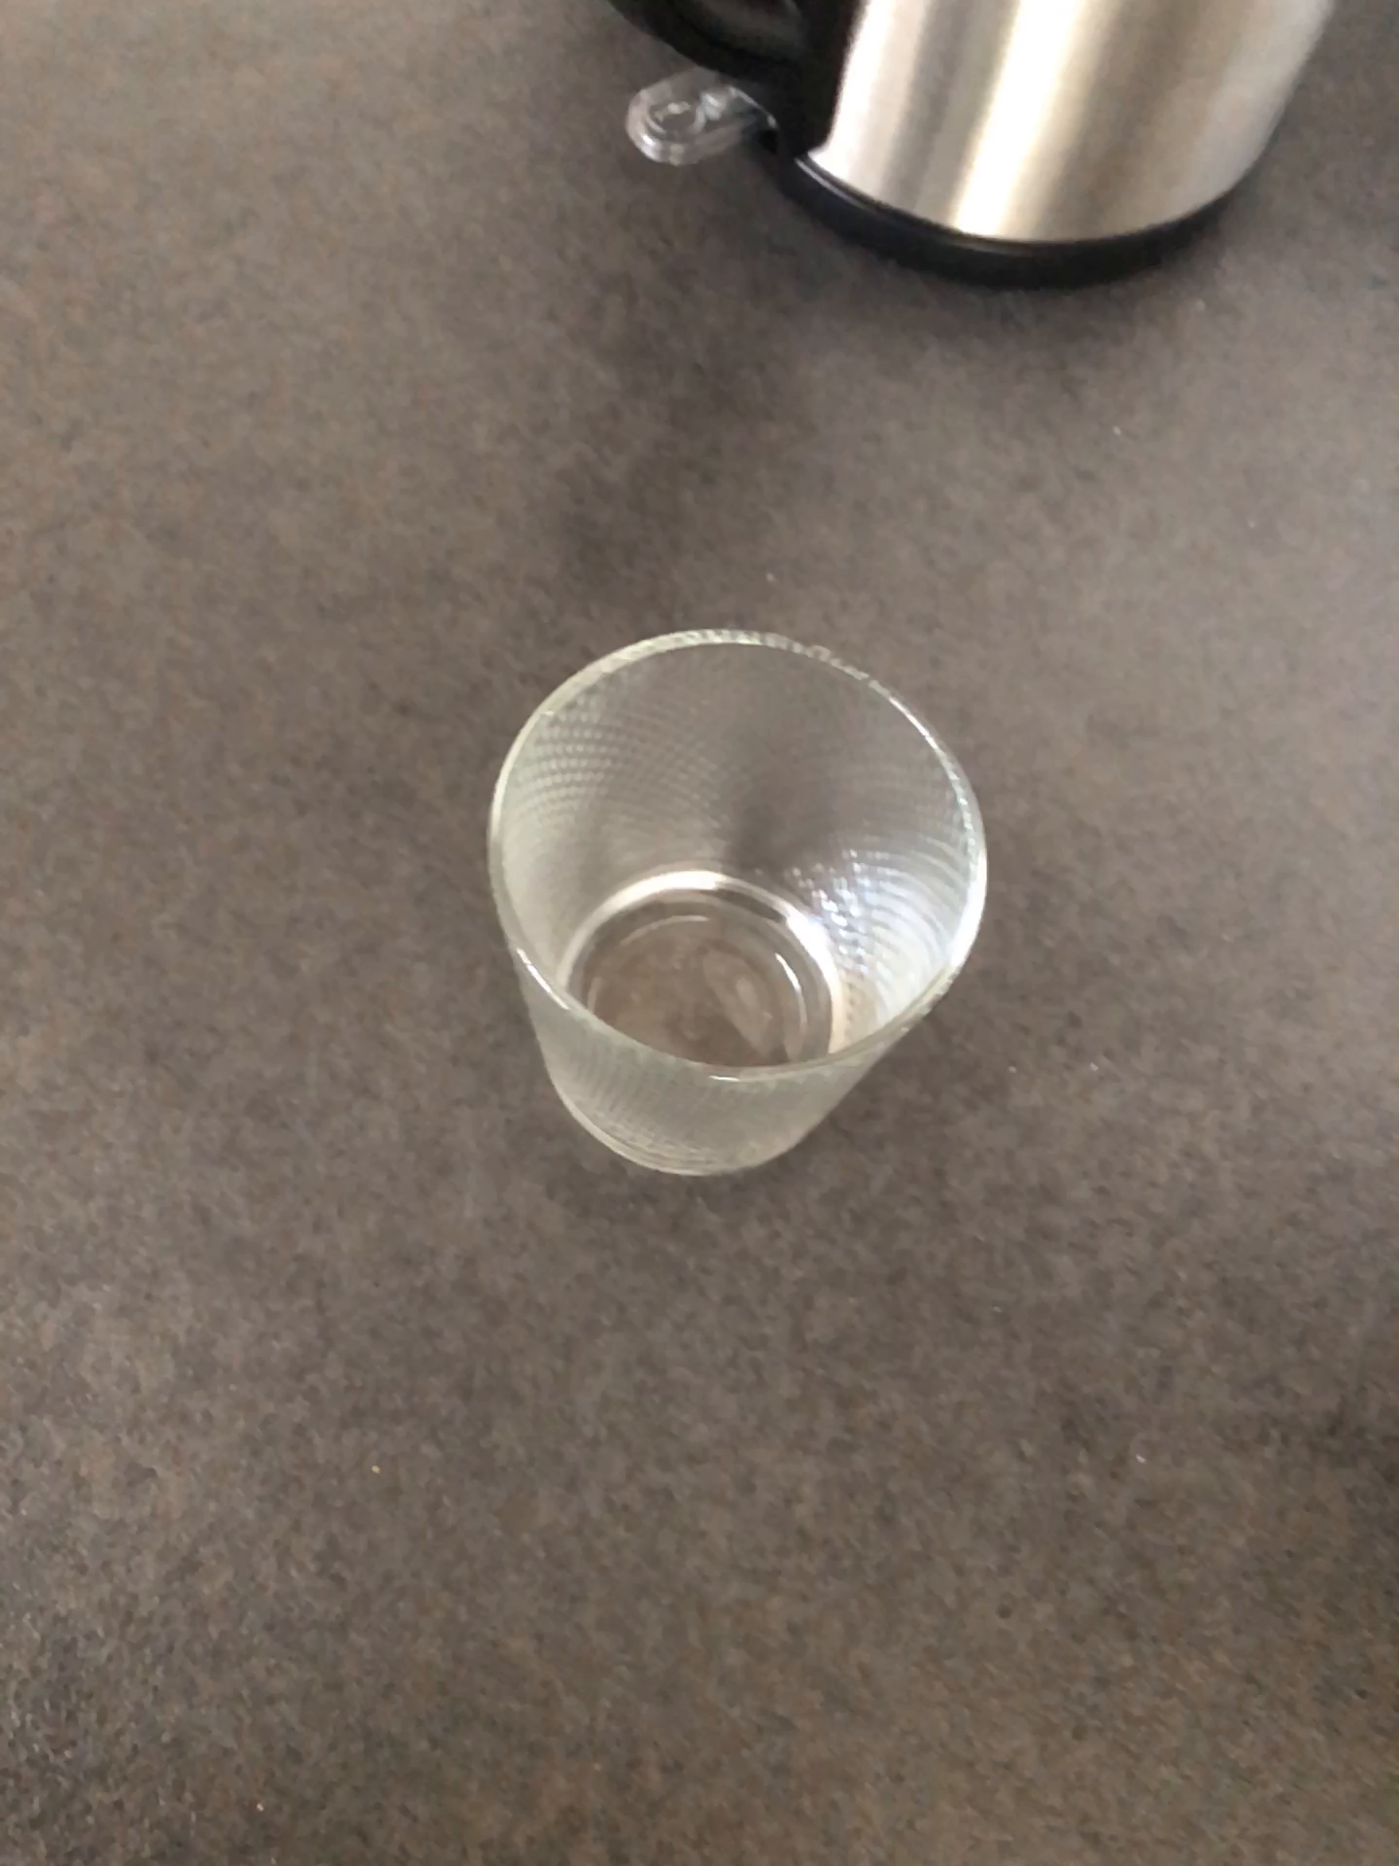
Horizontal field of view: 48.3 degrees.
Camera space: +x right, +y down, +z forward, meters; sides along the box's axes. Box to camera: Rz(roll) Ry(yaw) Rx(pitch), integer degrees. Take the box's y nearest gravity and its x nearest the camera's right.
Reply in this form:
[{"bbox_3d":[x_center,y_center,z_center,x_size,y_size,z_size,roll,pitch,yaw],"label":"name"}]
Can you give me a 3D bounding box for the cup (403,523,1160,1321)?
[{"bbox_3d":[0.010,0.003,0.272,0.080,0.090,0.080,2,67,-5],"label":"cup"}]
